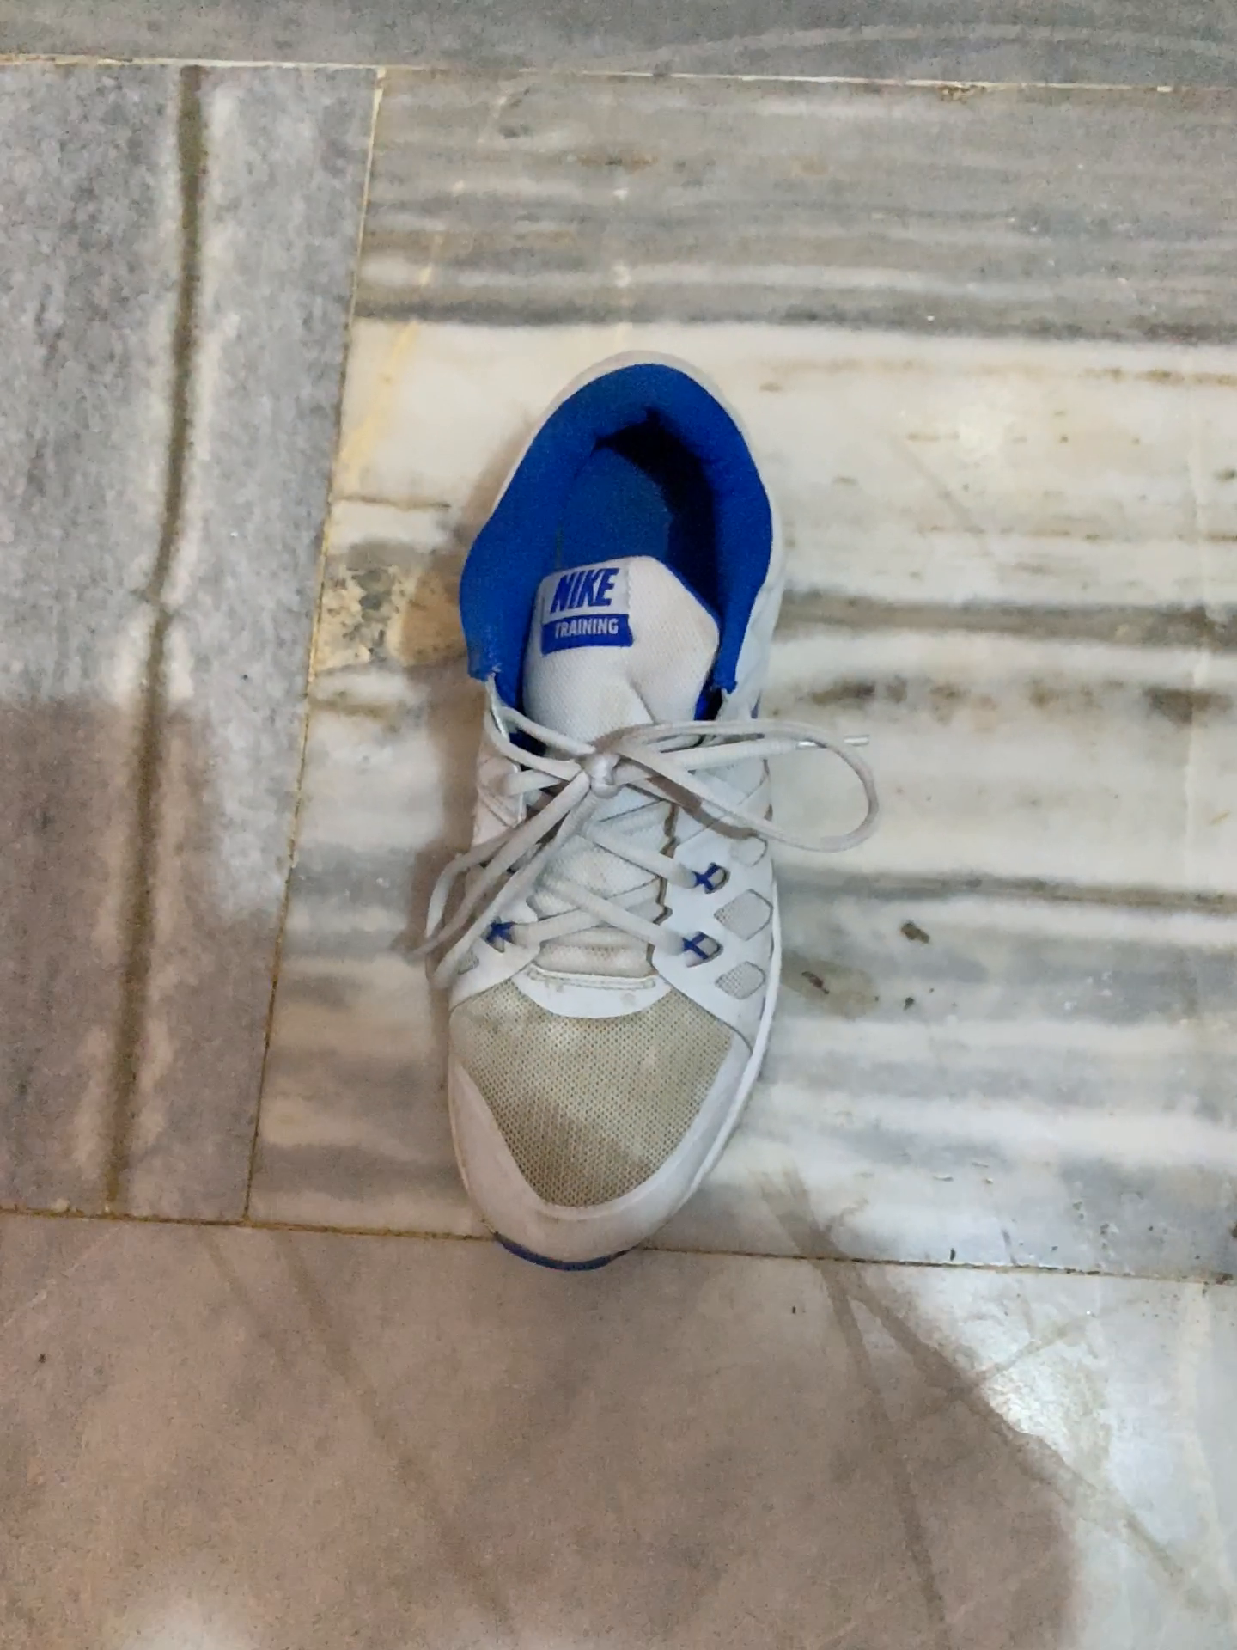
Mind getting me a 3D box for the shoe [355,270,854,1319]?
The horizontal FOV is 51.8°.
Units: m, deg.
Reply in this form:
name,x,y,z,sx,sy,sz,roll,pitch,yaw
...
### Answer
name,x,y,z,sx,sy,sz,roll,pitch,yaw
shoe,0.002,-0.012,0.413,0.116,0.100,0.300,5,78,2
